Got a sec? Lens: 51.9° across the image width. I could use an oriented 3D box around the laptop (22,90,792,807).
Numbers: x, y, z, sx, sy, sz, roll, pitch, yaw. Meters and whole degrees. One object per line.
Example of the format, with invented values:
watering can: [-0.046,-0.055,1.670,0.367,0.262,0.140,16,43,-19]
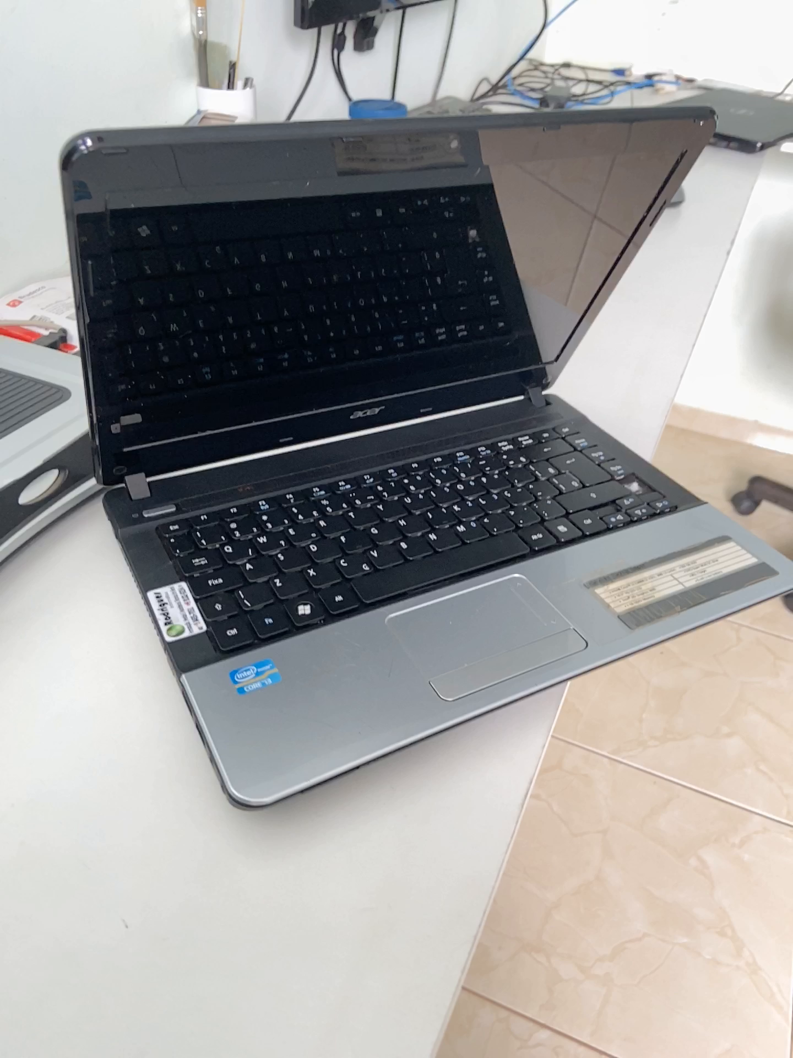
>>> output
laptop: [0.029,-0.079,0.411,0.327,0.211,0.239,-16,41,-25]
